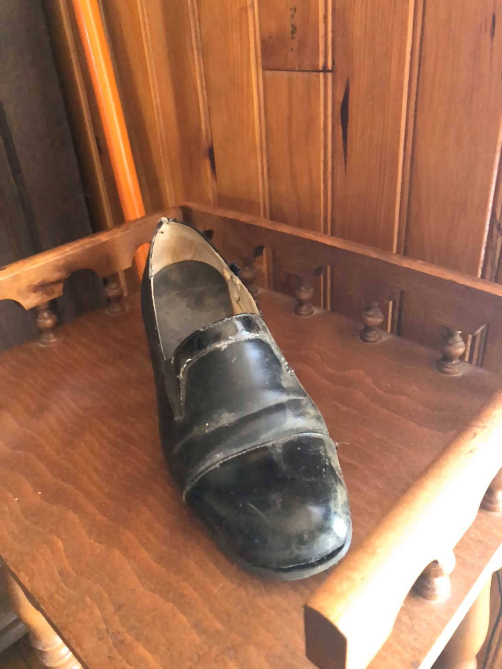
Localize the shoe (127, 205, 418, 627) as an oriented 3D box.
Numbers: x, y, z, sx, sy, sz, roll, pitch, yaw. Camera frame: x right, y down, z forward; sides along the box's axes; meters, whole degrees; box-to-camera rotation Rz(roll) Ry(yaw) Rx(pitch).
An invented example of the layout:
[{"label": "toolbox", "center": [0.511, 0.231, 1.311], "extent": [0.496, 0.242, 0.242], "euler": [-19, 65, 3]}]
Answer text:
[{"label": "shoe", "center": [-0.011, 0.013, 0.333], "extent": [0.100, 0.089, 0.261], "euler": [-10, 32, -9]}]
